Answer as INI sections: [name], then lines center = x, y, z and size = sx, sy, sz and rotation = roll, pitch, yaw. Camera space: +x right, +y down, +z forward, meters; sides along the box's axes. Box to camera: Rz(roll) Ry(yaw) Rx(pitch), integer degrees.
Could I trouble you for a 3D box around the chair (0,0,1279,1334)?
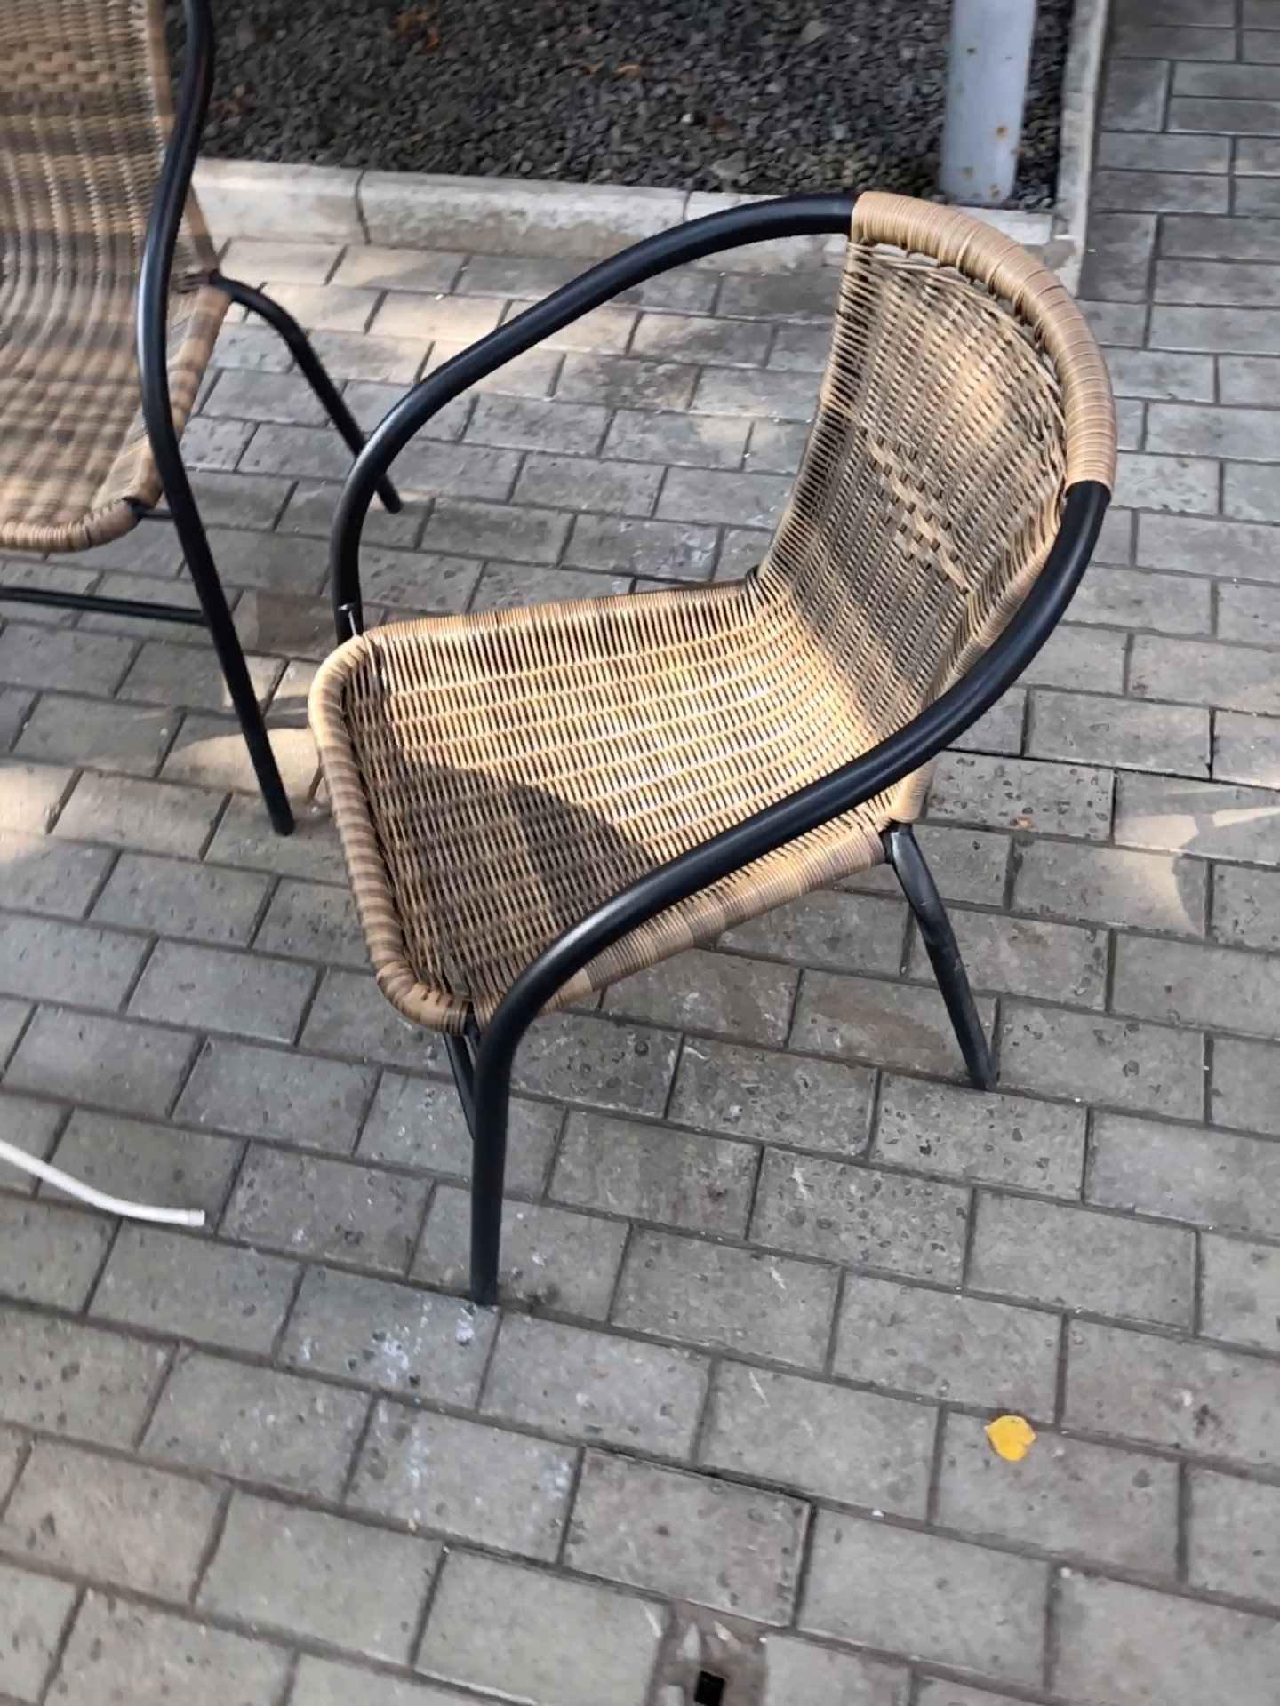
[chair]
center = -0.017, -0.090, 1.034
size = 0.590, 0.668, 0.542
rotation = -17, 56, -4
